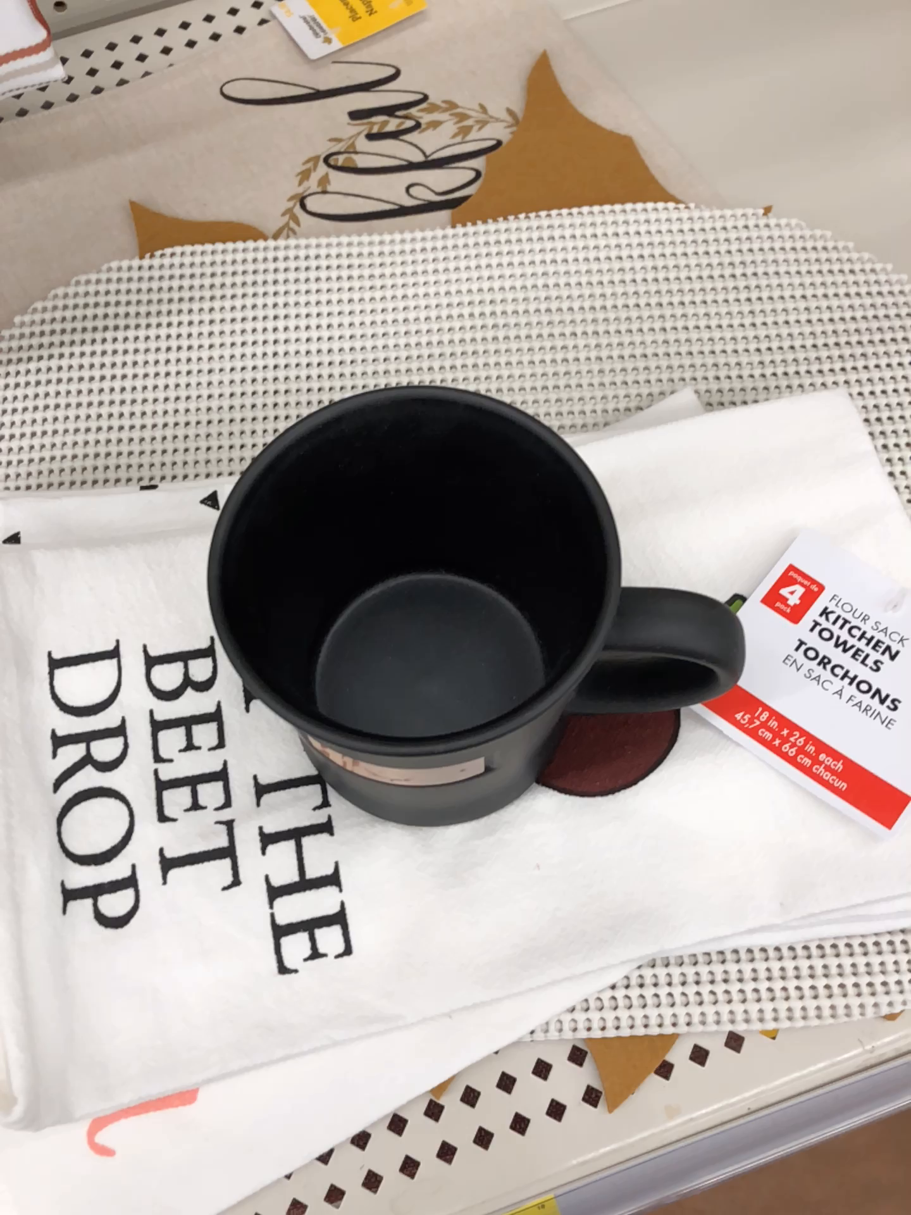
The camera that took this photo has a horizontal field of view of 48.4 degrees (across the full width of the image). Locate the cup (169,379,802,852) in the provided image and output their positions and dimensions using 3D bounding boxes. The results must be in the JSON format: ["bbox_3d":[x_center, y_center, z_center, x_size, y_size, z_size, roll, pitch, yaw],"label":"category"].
[{"bbox_3d":[0.010,0.010,0.292,0.140,0.110,0.100,2,70,3],"label":"cup"}]
